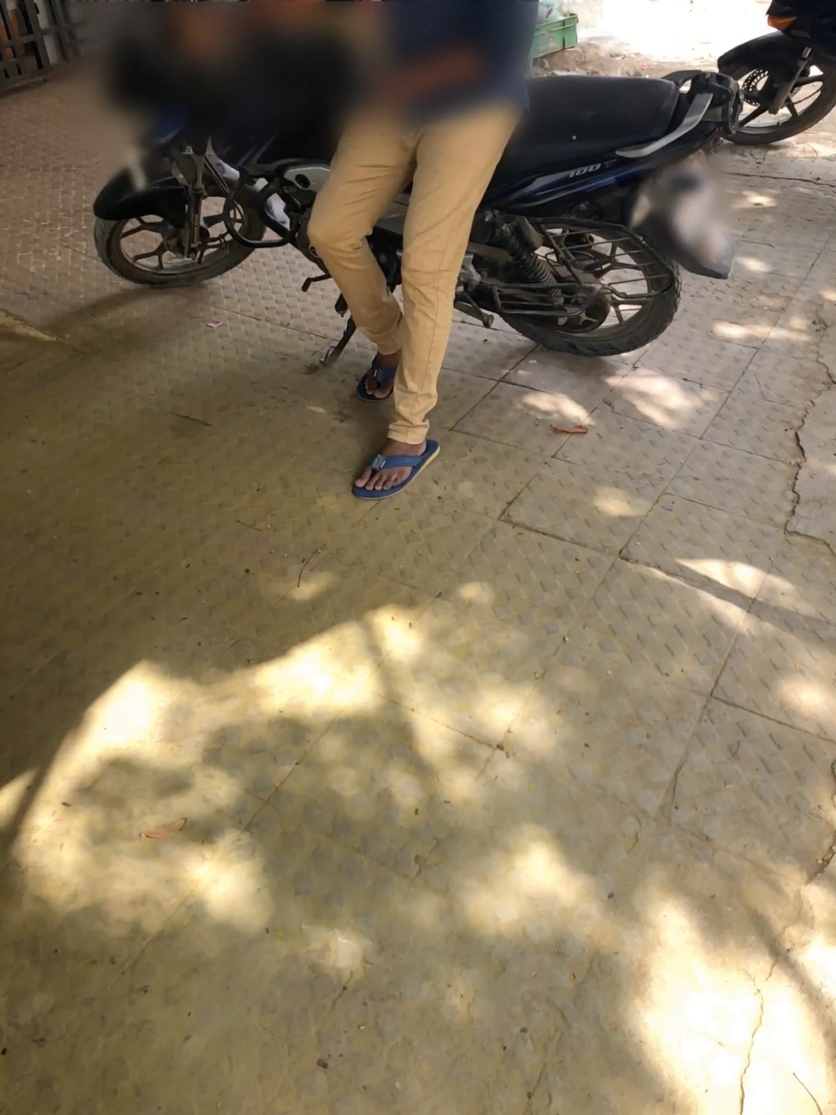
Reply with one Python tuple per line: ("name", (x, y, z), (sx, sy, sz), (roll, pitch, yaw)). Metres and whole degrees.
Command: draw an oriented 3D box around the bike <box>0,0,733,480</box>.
("bike", (-0.198, -1.023, 2.373), (1.742, 1.174, 0.789), (9, 41, 15))
